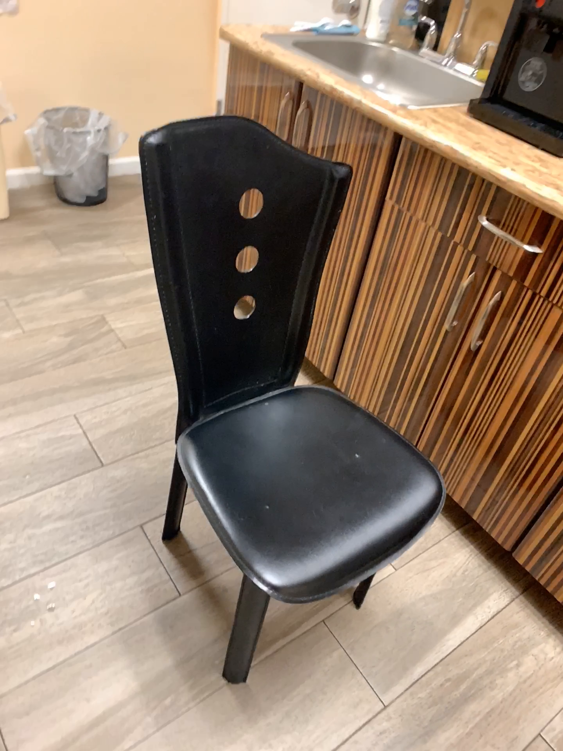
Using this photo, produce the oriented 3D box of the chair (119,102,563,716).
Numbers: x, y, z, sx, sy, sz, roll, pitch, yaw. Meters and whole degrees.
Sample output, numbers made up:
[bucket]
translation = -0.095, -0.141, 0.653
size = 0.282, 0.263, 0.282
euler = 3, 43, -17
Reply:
[chair]
translation = 0.039, 0.089, 1.041
size = 0.463, 0.941, 0.474
euler = -19, 49, -31
